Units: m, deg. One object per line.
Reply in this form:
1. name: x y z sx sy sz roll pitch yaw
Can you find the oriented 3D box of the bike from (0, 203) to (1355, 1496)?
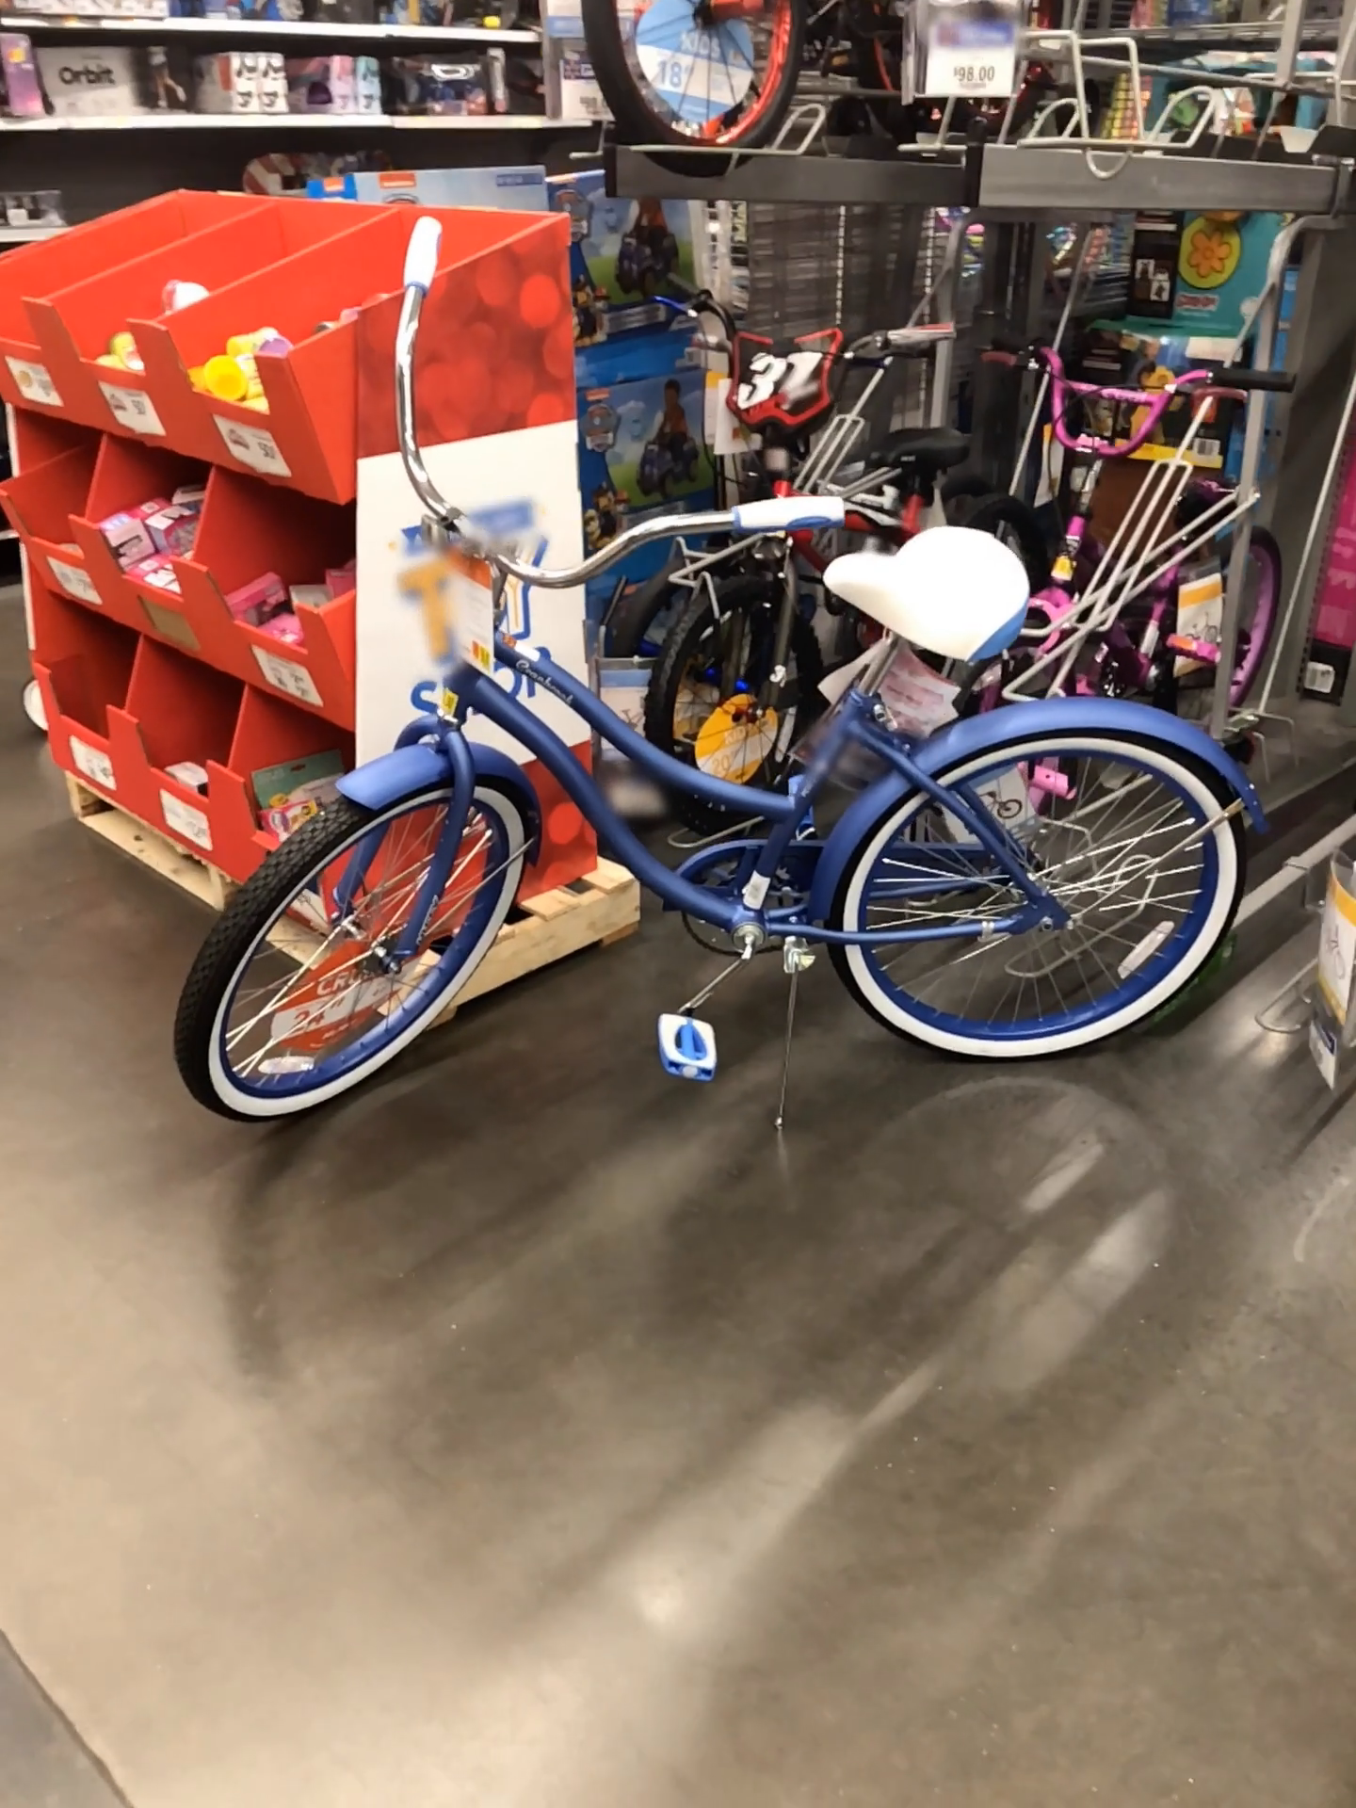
1. bike: 0.065 -0.170 1.802 1.353 1.114 0.861 -7 27 -9
